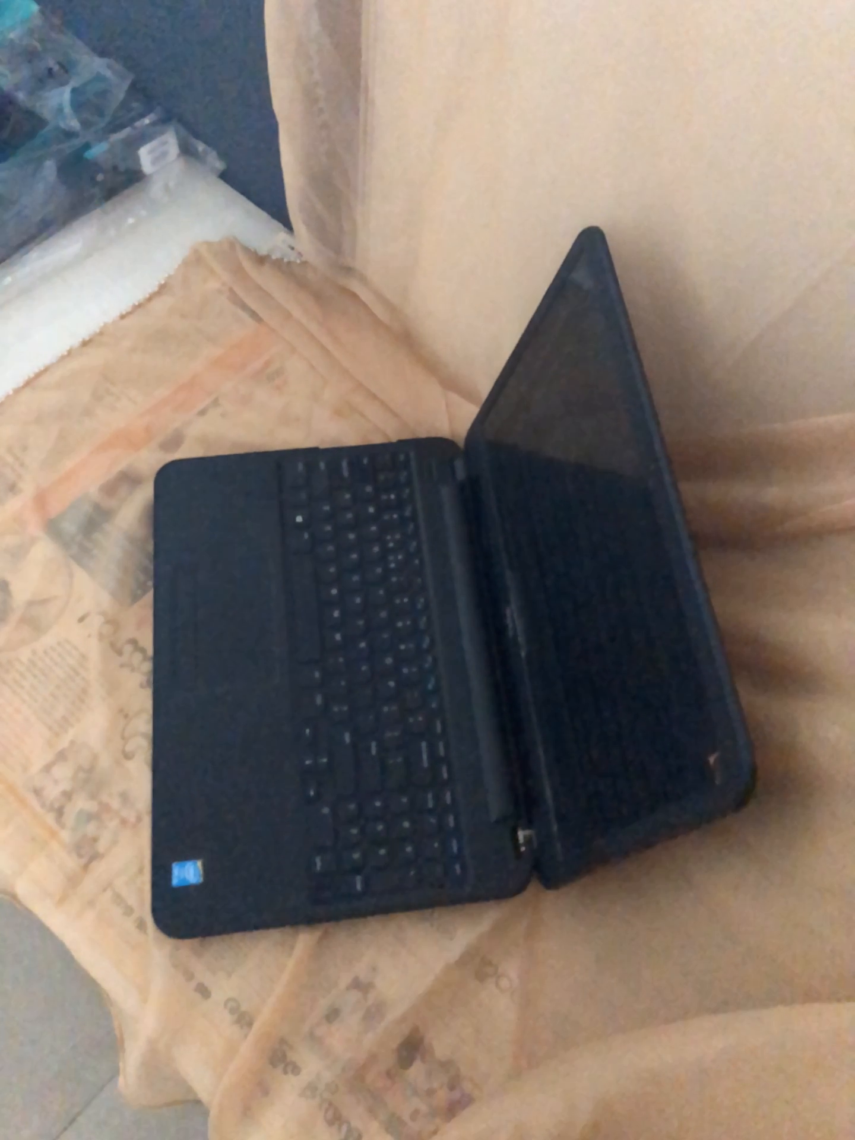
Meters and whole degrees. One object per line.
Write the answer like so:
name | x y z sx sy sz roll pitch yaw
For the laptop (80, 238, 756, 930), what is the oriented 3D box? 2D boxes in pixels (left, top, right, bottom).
laptop | -0.029 0.013 0.600 0.305 0.226 0.349 -5 64 -6
